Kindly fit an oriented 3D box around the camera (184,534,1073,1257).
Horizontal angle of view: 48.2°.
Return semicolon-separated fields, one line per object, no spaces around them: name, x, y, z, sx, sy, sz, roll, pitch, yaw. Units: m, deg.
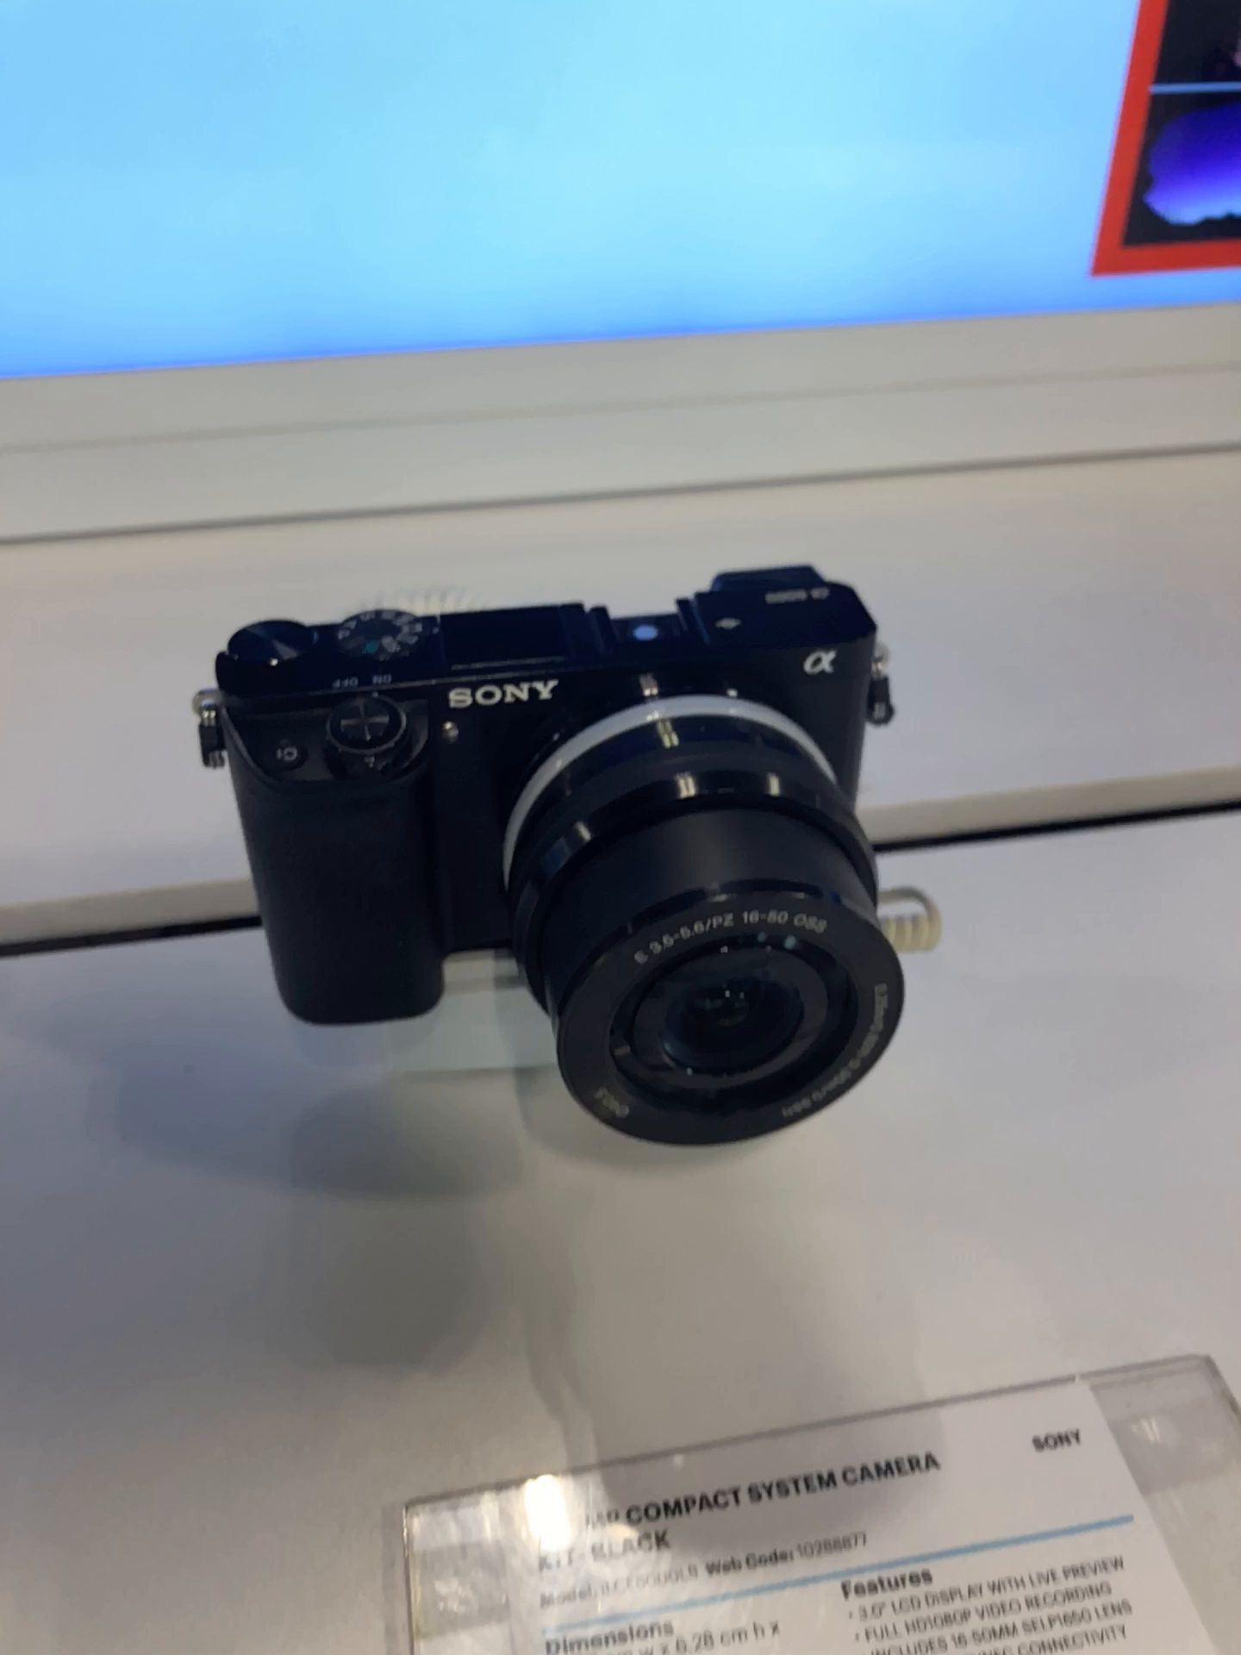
camera;-0.005;0.005;0.259;0.130;0.070;0.101;-7;38;-9
